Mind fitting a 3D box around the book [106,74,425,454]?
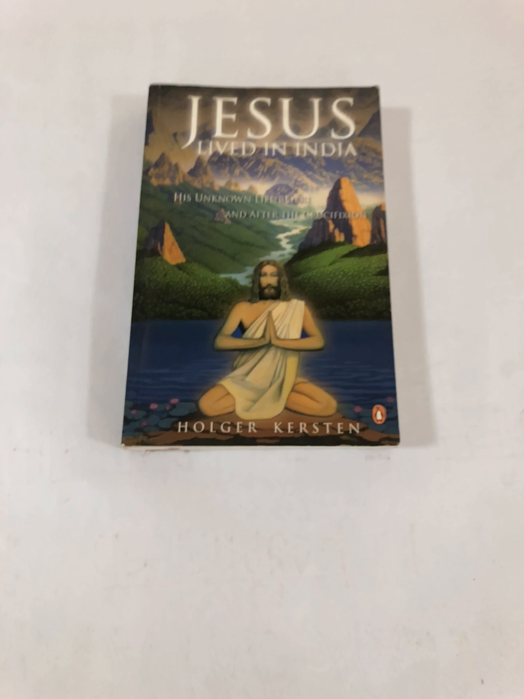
[{"bbox_3d":[0.003,-0.052,0.321,0.150,0.030,0.210,1,73,-1],"label":"book"}]
